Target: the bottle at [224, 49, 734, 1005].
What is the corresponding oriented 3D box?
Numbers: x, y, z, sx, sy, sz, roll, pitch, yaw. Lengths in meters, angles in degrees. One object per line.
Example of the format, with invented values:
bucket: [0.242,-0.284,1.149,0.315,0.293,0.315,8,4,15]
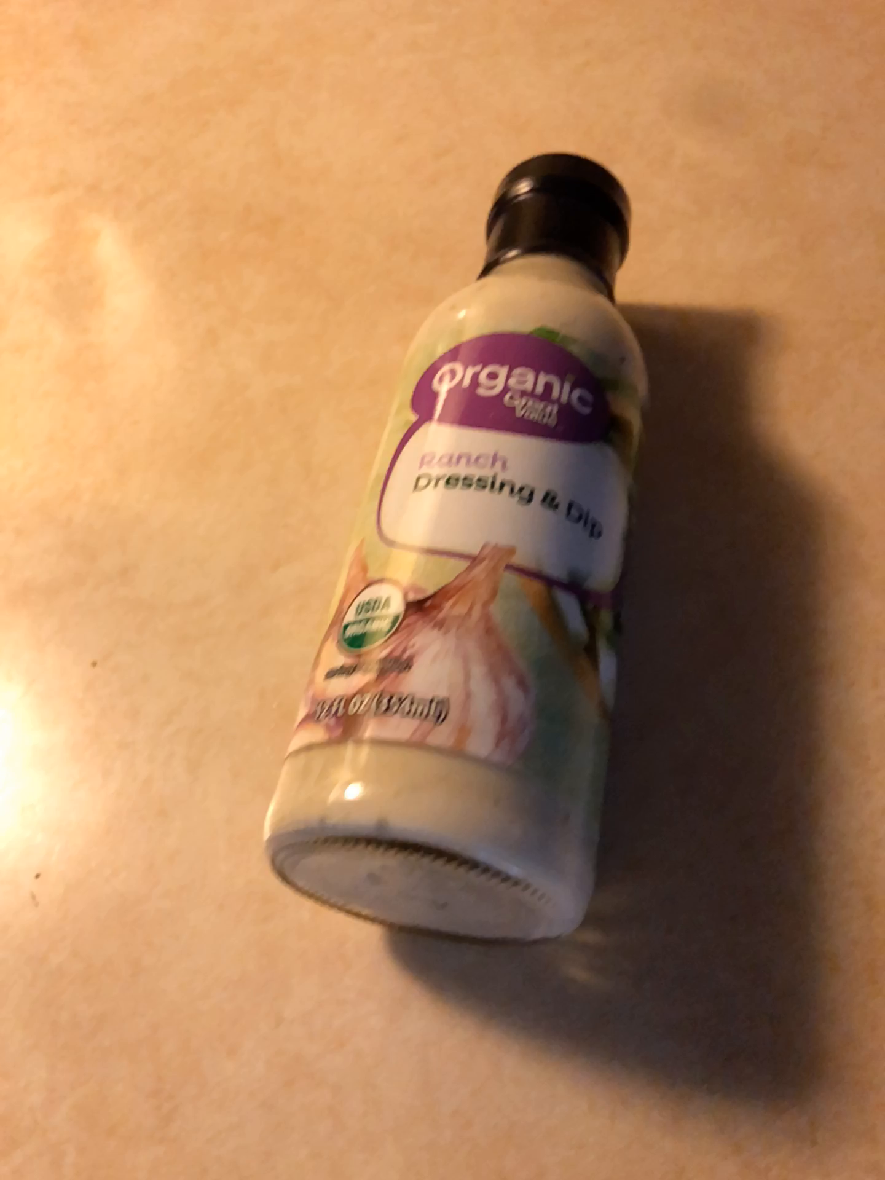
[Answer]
bottle: [0.023,-0.037,0.232,0.070,0.060,0.230,10,54,4]
